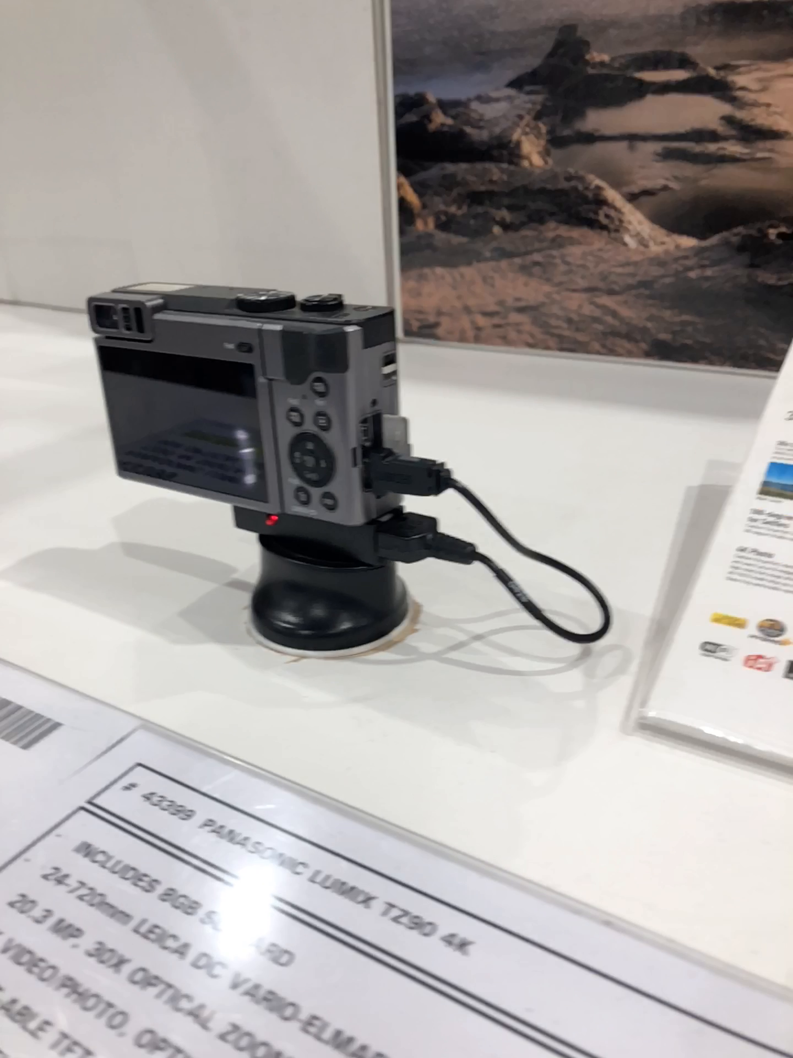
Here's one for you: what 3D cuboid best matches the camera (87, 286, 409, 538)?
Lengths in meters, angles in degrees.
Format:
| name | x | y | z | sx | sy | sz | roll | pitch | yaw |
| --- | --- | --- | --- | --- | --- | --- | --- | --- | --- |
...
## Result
| name | x | y | z | sx | sy | sz | roll | pitch | yaw |
| --- | --- | --- | --- | --- | --- | --- | --- | --- | --- |
| camera | -0.050 | -0.043 | 0.294 | 0.107 | 0.065 | 0.030 | 13 | 27 | 31 |
